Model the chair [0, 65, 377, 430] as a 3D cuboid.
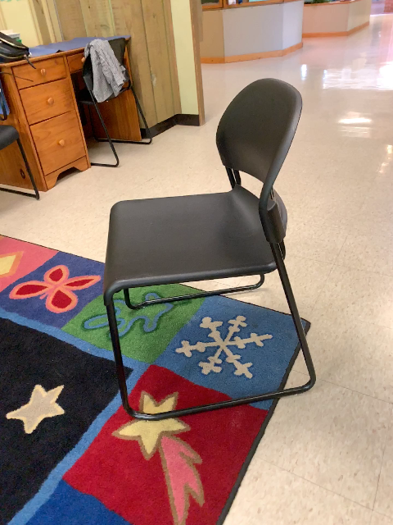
[{"bbox_3d":[-0.010,-0.076,1.119,0.630,0.735,0.614,-7,32,-2],"label":"chair"}]
